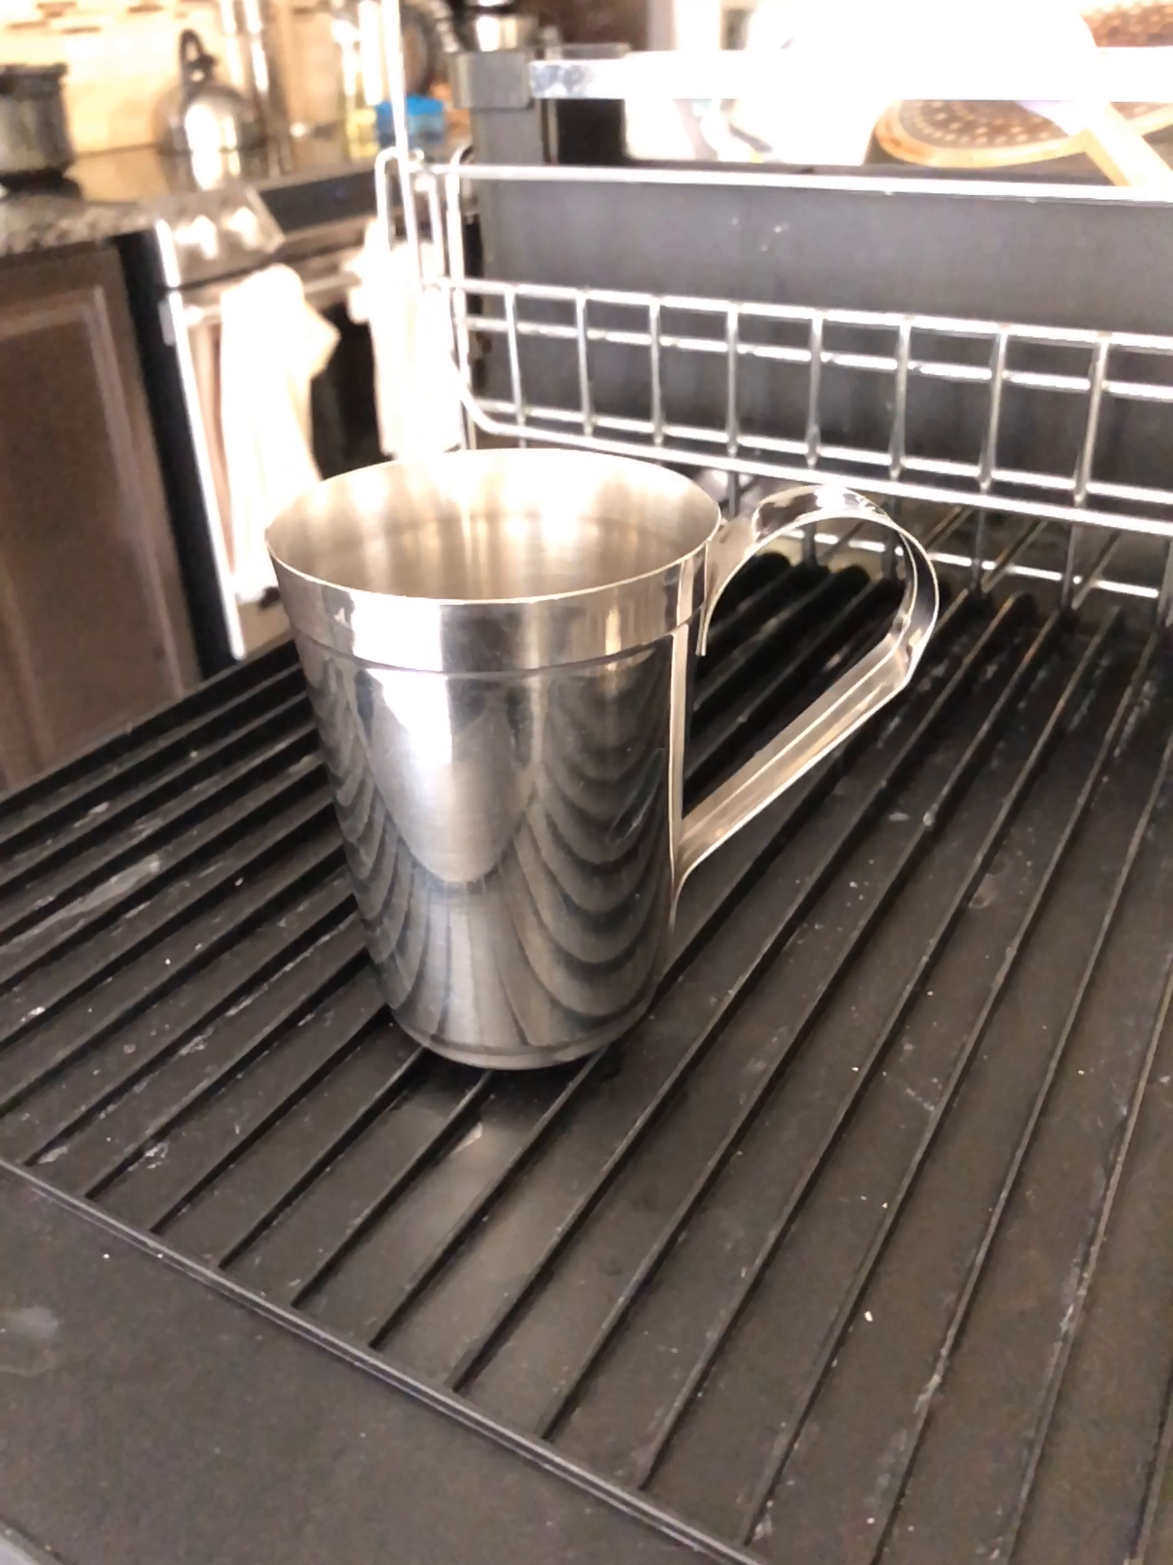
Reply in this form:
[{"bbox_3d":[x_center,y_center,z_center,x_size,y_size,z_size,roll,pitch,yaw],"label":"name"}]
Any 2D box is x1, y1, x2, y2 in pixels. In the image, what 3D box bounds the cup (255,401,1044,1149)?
[{"bbox_3d":[0.006,-0.005,0.231,0.110,0.097,0.066,-8,31,-10],"label":"cup"}]
